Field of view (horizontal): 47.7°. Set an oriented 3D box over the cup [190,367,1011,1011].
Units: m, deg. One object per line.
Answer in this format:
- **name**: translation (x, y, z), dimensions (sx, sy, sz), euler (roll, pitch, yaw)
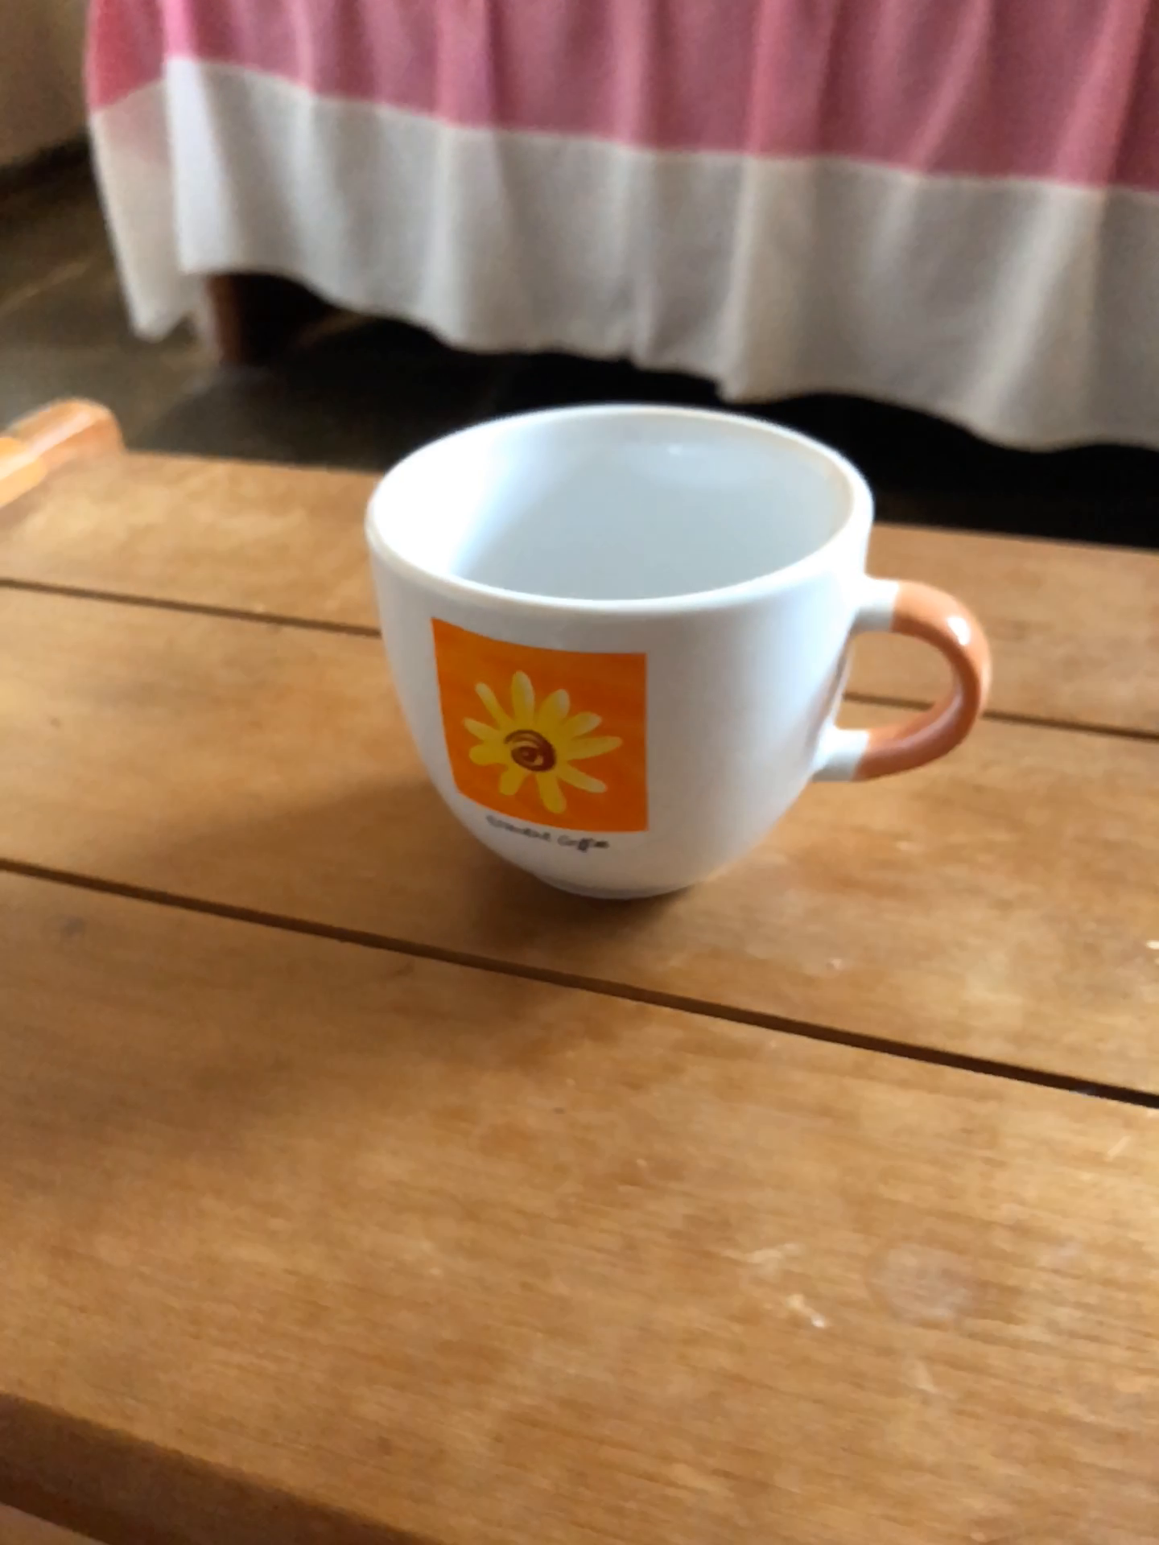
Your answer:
- **cup**: translation (0.011, -0.022, 0.223), dimensions (0.110, 0.060, 0.091), euler (7, 36, 13)
